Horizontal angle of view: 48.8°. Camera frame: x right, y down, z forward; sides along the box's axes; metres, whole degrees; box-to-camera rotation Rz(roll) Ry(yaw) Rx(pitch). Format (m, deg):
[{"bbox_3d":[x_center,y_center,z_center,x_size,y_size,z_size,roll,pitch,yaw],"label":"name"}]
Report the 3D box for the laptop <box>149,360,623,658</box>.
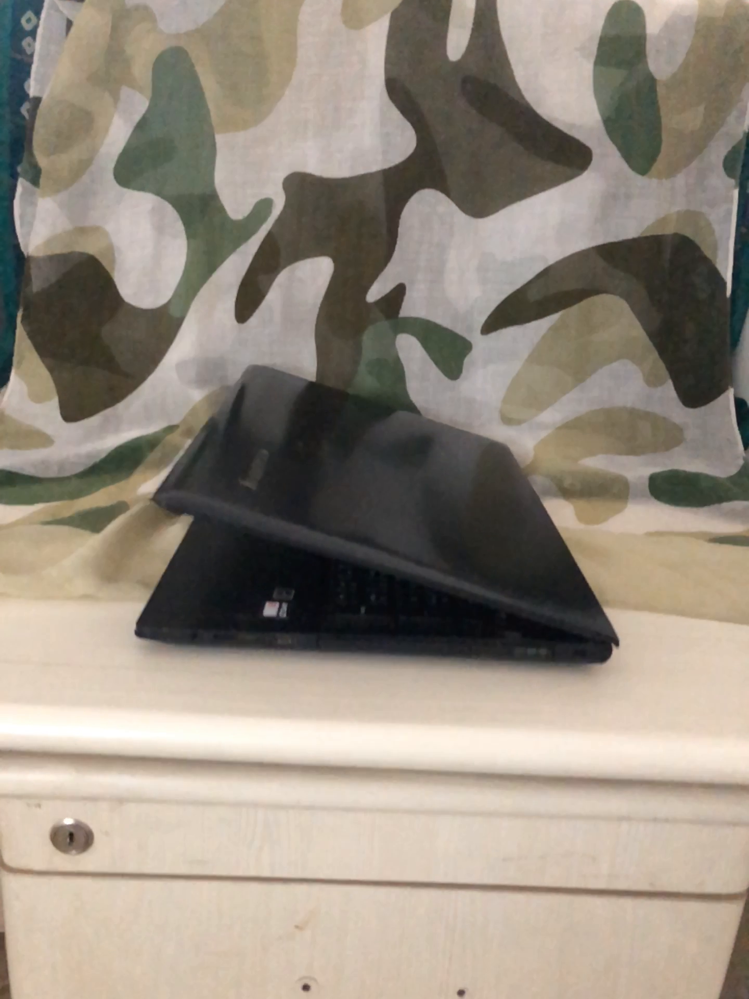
[{"bbox_3d":[0.007,-0.023,0.620,0.249,0.059,0.387,7,20,-2],"label":"laptop"}]
